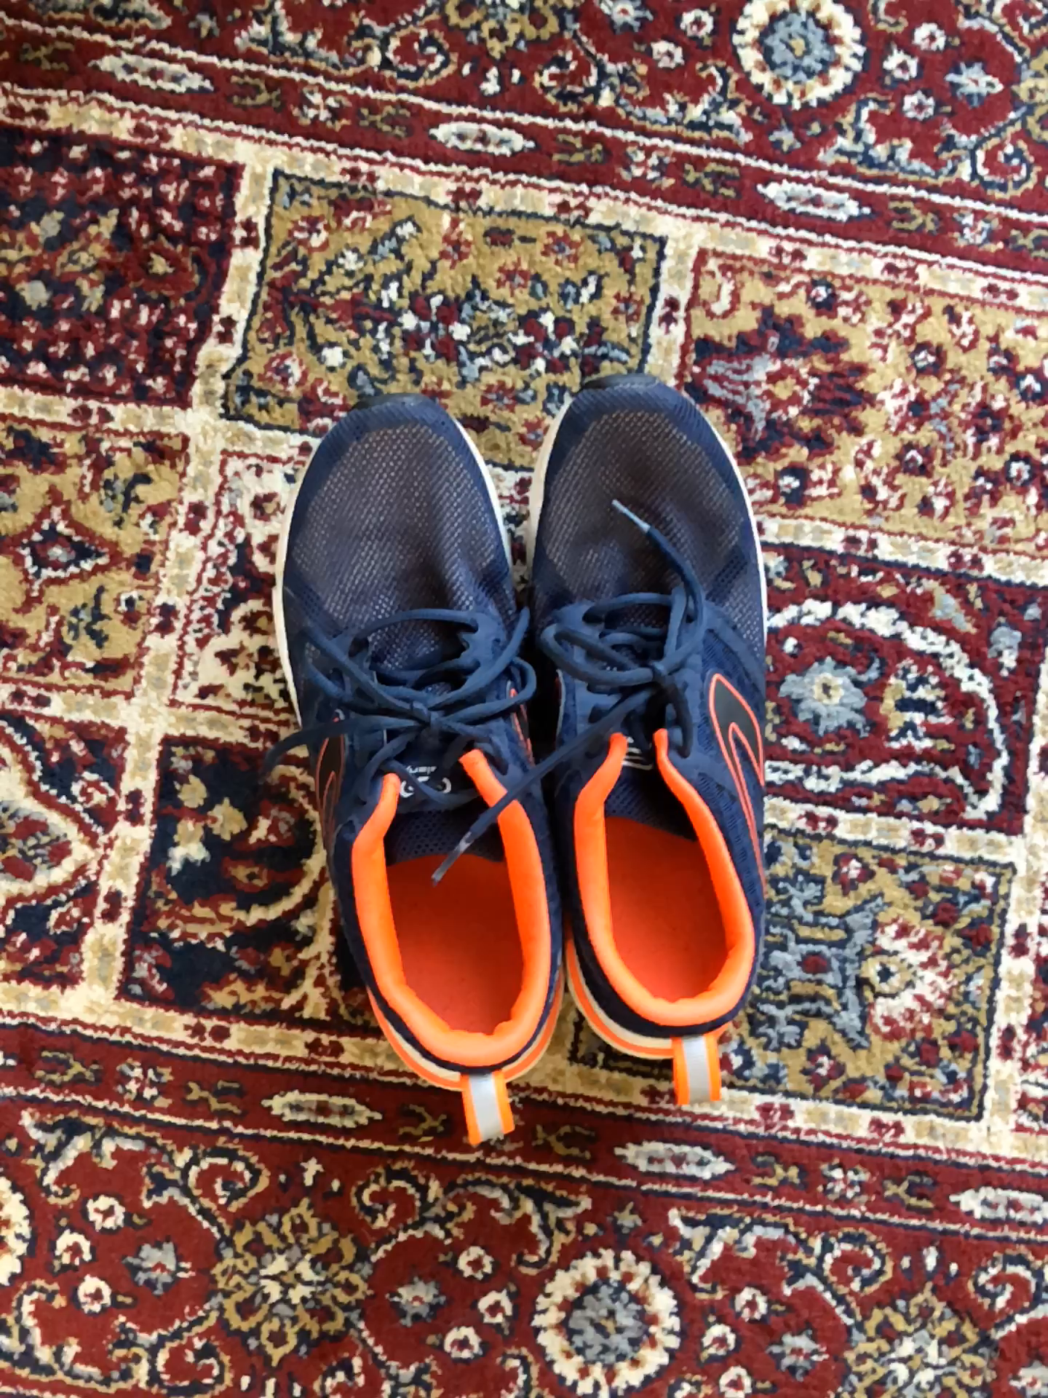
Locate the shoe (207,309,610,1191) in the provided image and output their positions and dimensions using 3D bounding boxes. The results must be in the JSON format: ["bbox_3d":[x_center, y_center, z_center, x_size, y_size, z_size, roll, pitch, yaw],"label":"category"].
[{"bbox_3d":[-0.047,0.019,0.516,0.120,0.130,0.330,-7,86,-1],"label":"shoe"}]

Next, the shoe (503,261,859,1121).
[{"bbox_3d":[0.059,-0.003,0.517,0.120,0.130,0.330,-3,86,-1],"label":"shoe"}]
